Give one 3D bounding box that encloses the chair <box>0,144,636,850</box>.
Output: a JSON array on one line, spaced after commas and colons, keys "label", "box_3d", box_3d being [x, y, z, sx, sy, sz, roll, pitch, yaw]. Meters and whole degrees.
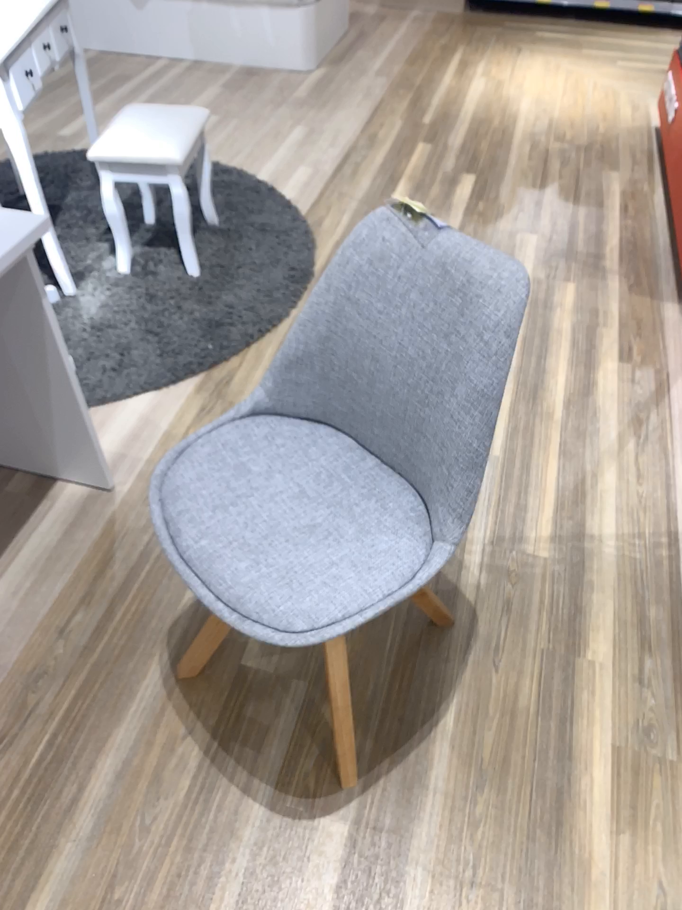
[{"label": "chair", "box_3d": [-0.033, 0.093, 1.110, 0.516, 0.856, 0.515, -33, 55, -28]}]
